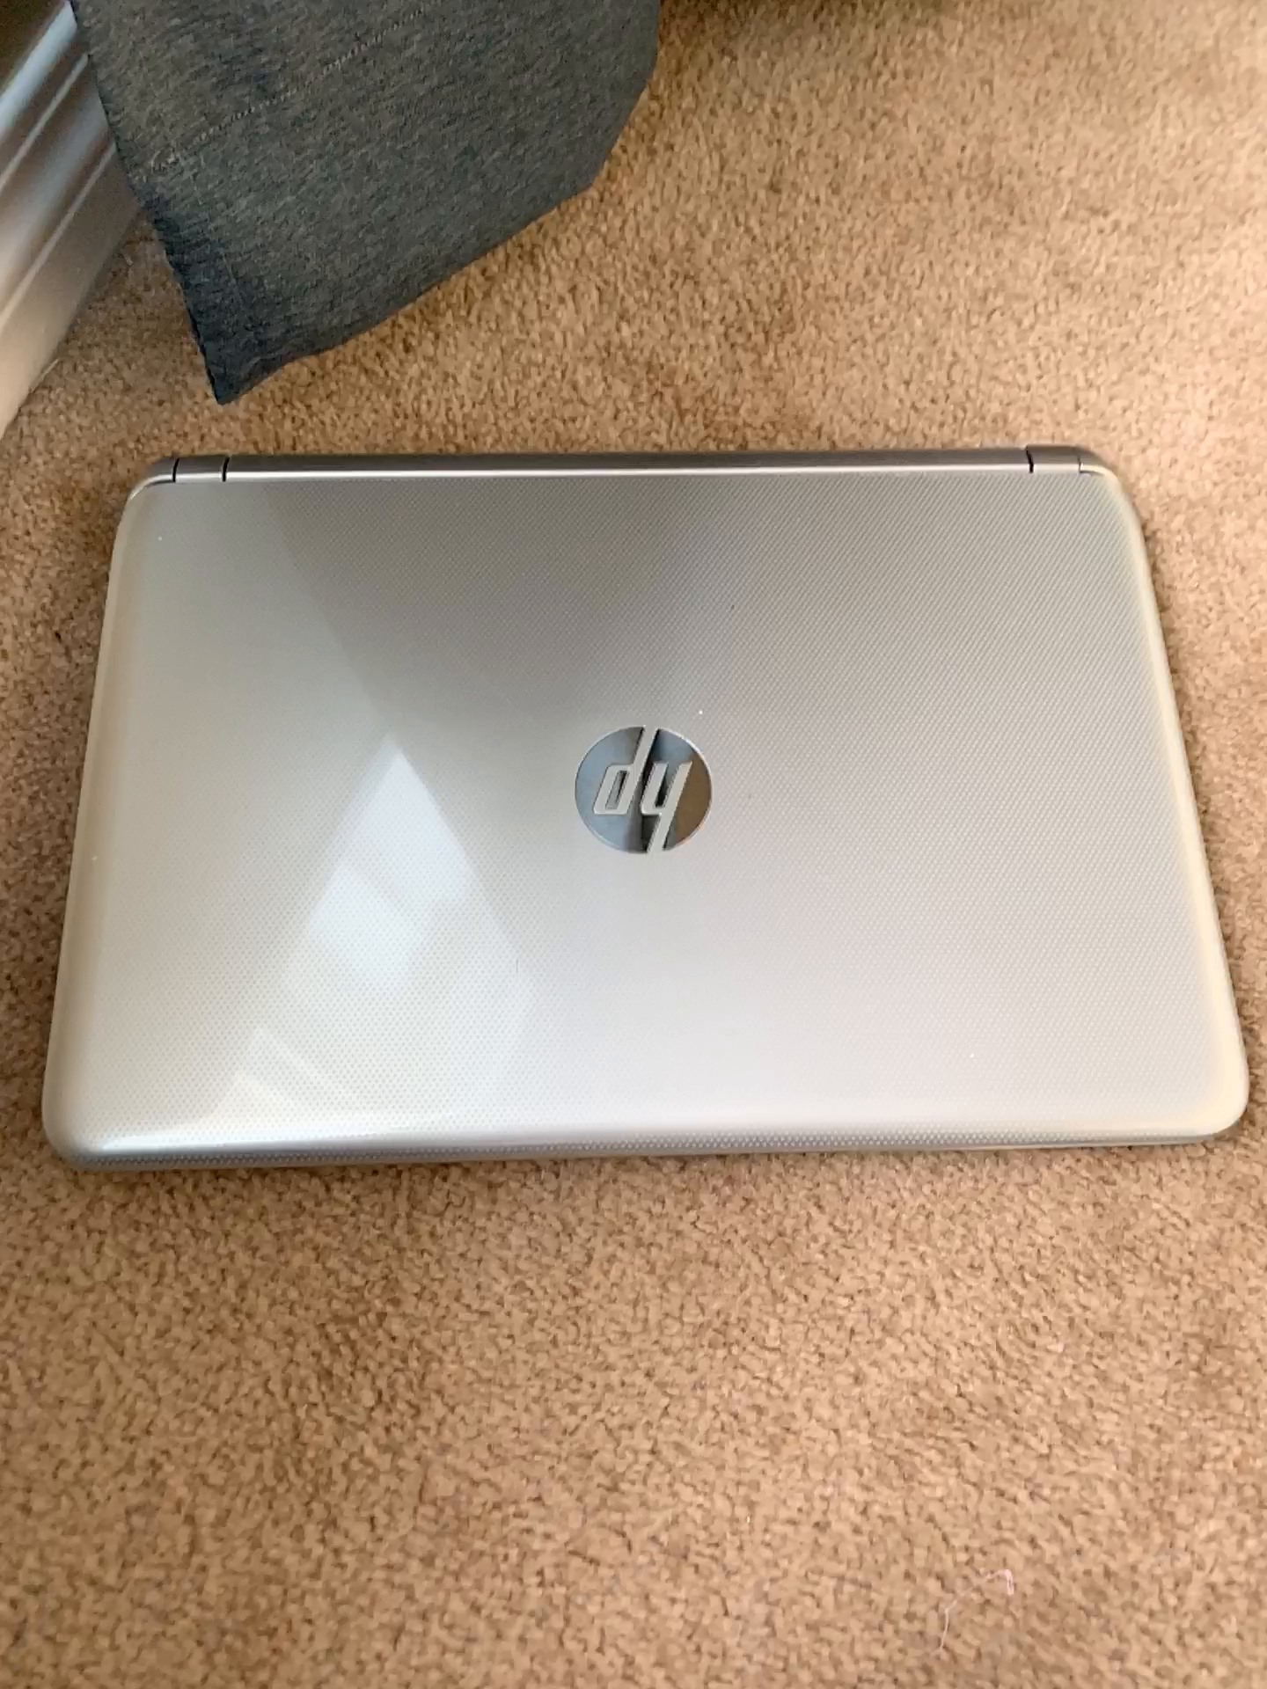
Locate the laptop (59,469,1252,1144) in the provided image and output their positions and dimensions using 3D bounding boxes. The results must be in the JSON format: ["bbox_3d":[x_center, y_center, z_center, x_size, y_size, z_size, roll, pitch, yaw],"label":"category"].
[{"bbox_3d":[0.003,-0.022,0.400,0.328,0.002,0.223,-1,68,0],"label":"laptop"}]
